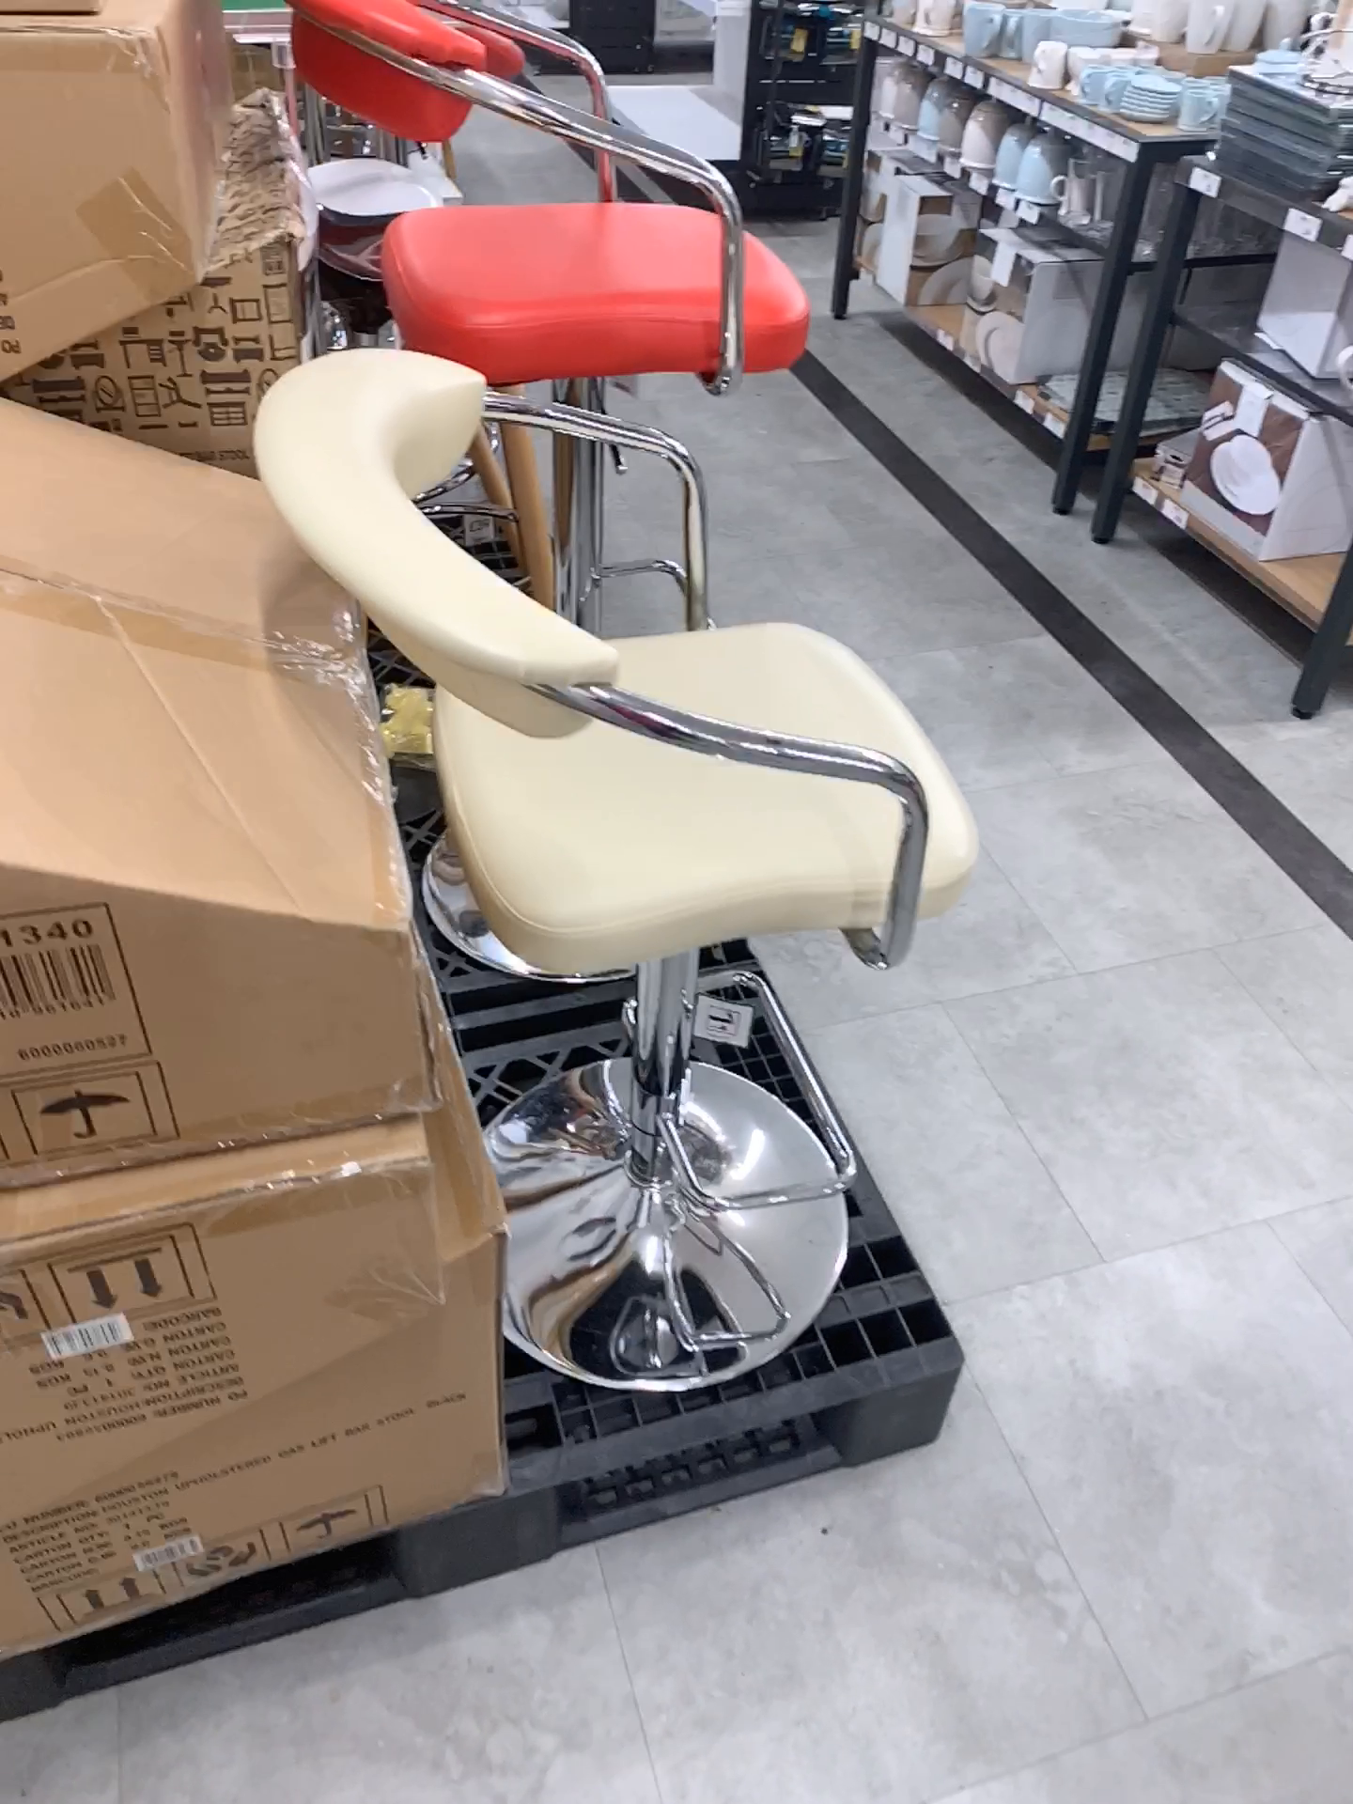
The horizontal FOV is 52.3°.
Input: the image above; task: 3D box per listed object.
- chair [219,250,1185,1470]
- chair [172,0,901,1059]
[{"bbox_3d":[-0.038,-0.018,1.153,0.500,0.840,0.468,-10,42,-15],"label":"chair"},{"bbox_3d":[-0.168,-0.414,1.504,0.520,1.058,0.478,-10,42,-15],"label":"chair"}]
